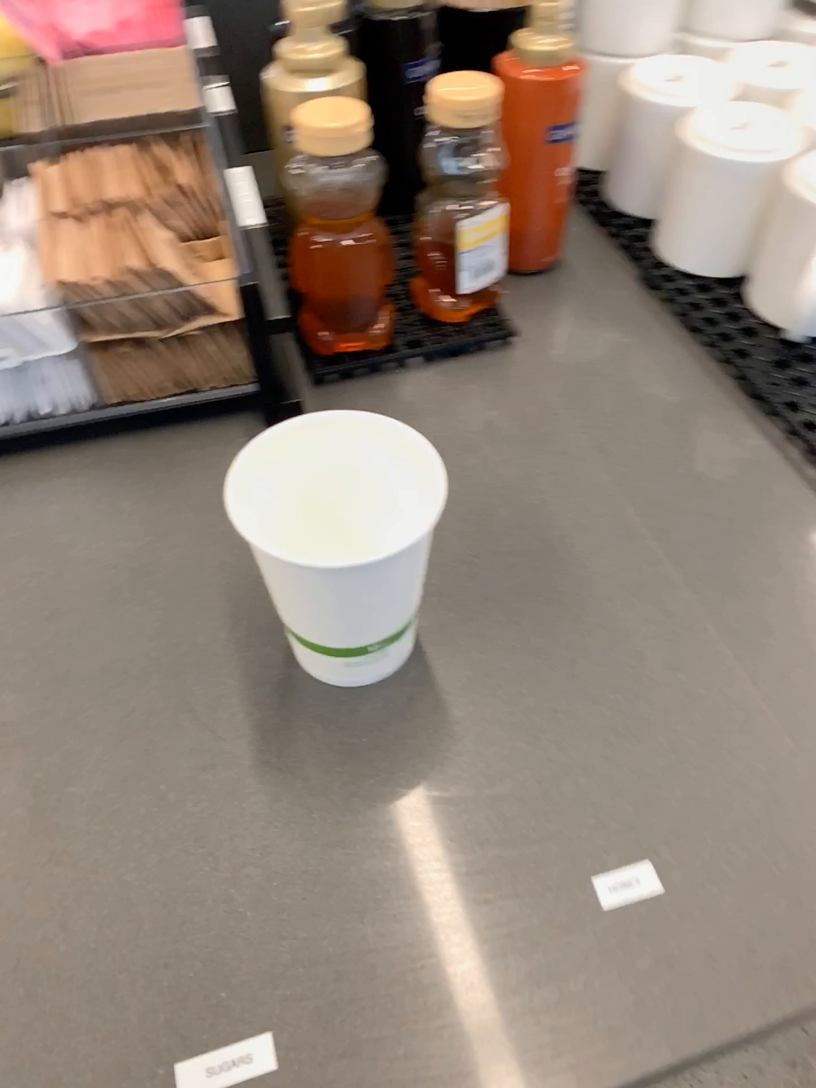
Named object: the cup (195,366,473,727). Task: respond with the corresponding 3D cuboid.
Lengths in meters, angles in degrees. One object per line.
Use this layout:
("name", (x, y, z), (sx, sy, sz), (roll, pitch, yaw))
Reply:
("cup", (-0.025, 0.004, 0.360), (0.080, 0.119, 0.080), (-1, 49, 1))
